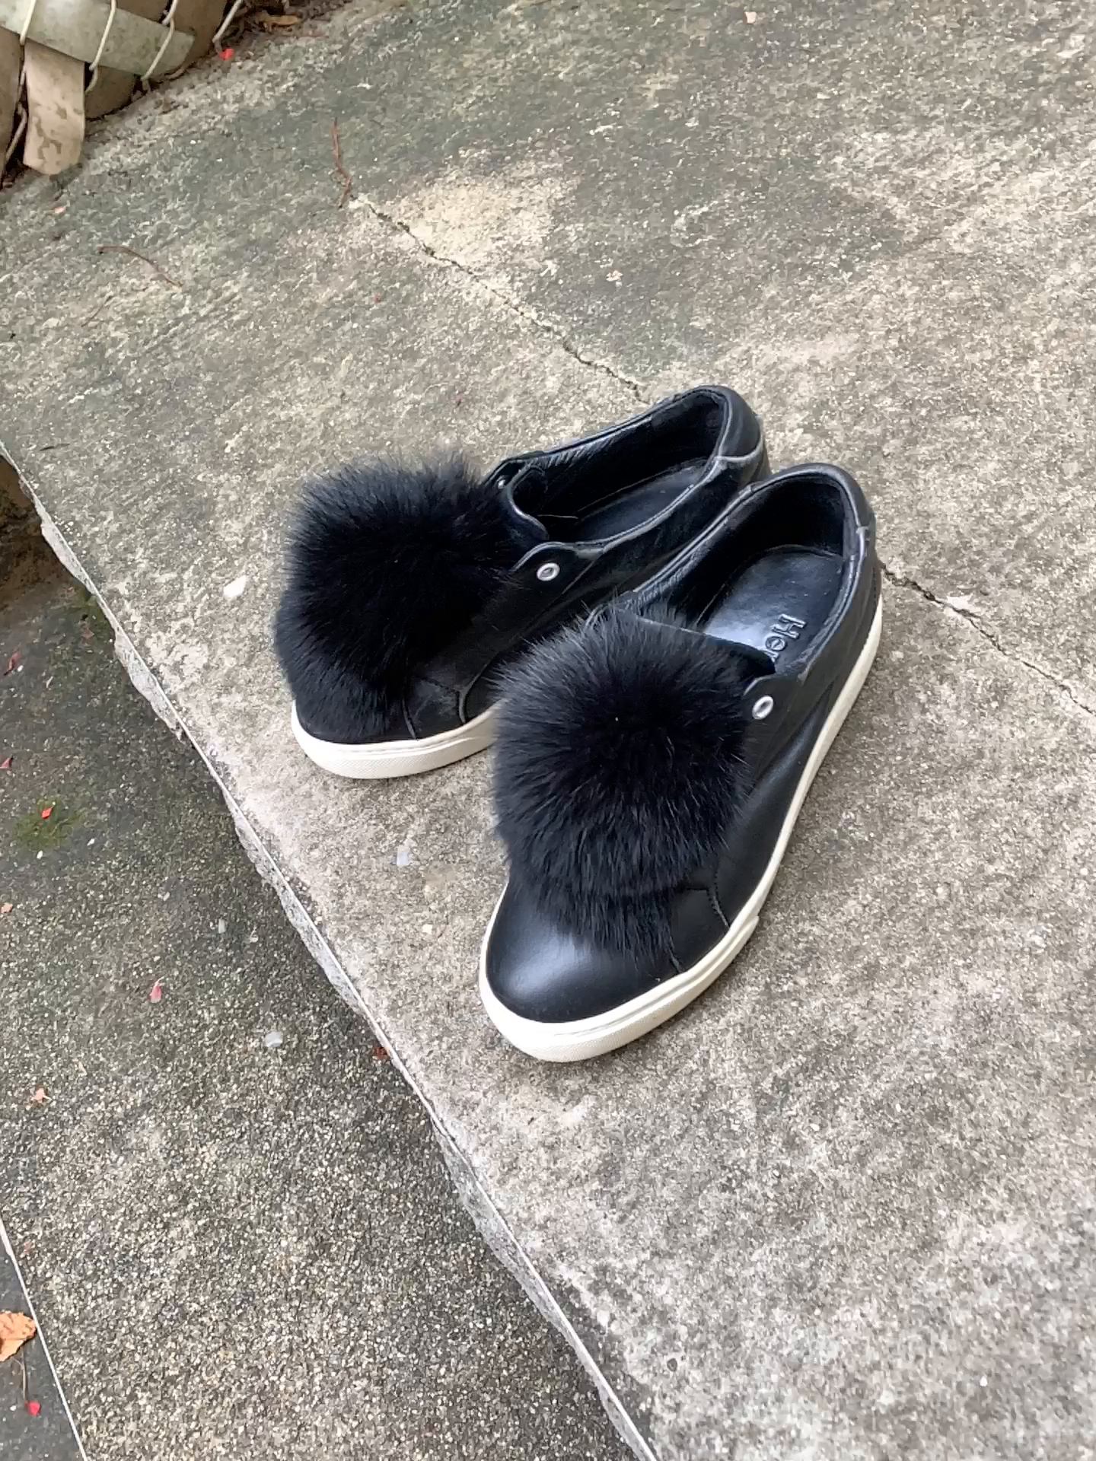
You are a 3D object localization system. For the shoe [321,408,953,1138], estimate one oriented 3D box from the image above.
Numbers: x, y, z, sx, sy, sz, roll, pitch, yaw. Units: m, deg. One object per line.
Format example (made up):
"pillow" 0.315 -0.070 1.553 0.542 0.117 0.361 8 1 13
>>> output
"shoe" 0.047 0.007 0.420 0.098 0.097 0.243 26 67 30

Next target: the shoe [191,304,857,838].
"shoe" -0.007 -0.070 0.505 0.269 0.097 0.095 -26 53 -1
